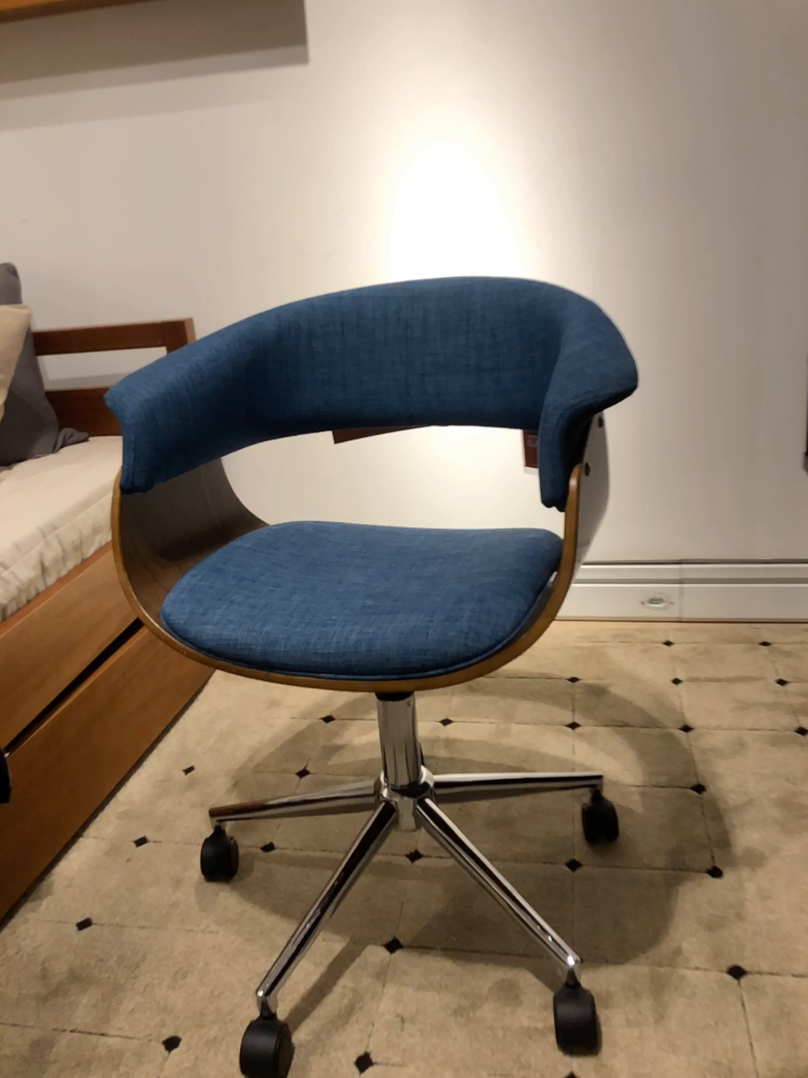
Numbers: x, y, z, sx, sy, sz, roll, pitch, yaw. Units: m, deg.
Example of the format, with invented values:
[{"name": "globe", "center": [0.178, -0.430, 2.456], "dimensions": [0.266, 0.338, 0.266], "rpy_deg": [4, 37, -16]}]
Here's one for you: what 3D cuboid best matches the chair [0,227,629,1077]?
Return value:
[{"name": "chair", "center": [-0.051, 0.070, 1.072], "dimensions": [0.610, 0.775, 0.674], "rpy_deg": [0, 20, 15]}]
